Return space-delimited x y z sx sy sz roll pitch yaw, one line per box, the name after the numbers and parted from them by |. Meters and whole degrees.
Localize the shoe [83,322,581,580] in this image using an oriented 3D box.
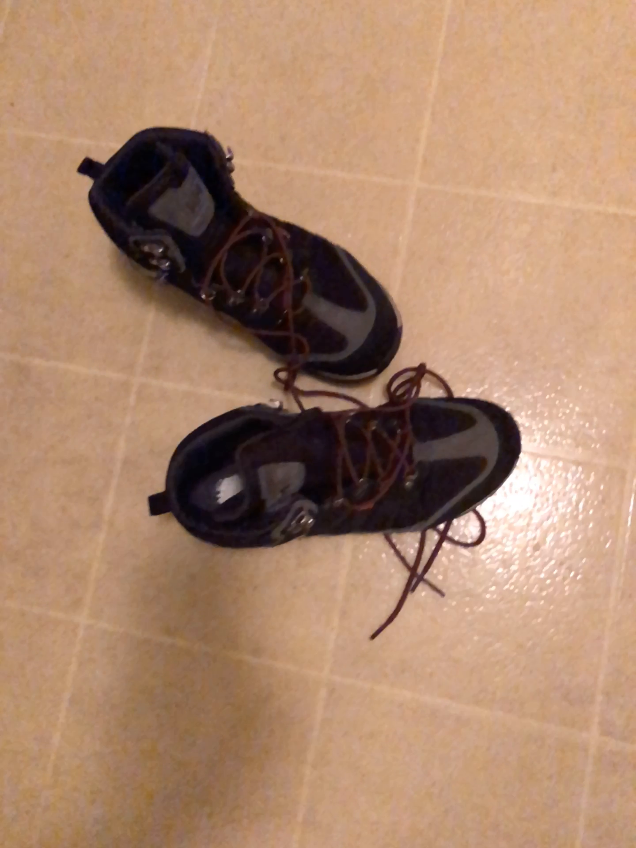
0.012 0.030 0.535 0.299 0.196 0.116 -9 82 5 | shoe

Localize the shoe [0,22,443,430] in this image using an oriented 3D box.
-0.071 -0.141 0.568 0.309 0.196 0.126 32 87 10 | shoe
